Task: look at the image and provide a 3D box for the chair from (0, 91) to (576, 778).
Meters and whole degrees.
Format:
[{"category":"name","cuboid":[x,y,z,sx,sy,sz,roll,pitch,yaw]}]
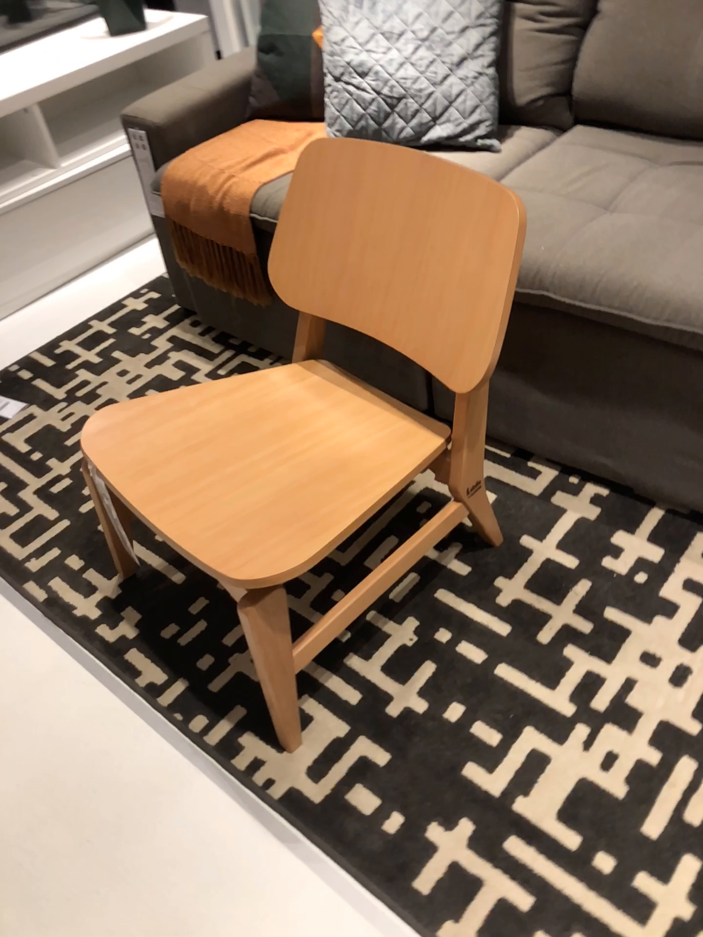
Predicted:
[{"category":"chair","cuboid":[-0.136,-0.108,1.204,0.652,0.625,0.643,-37,49,-26]}]
